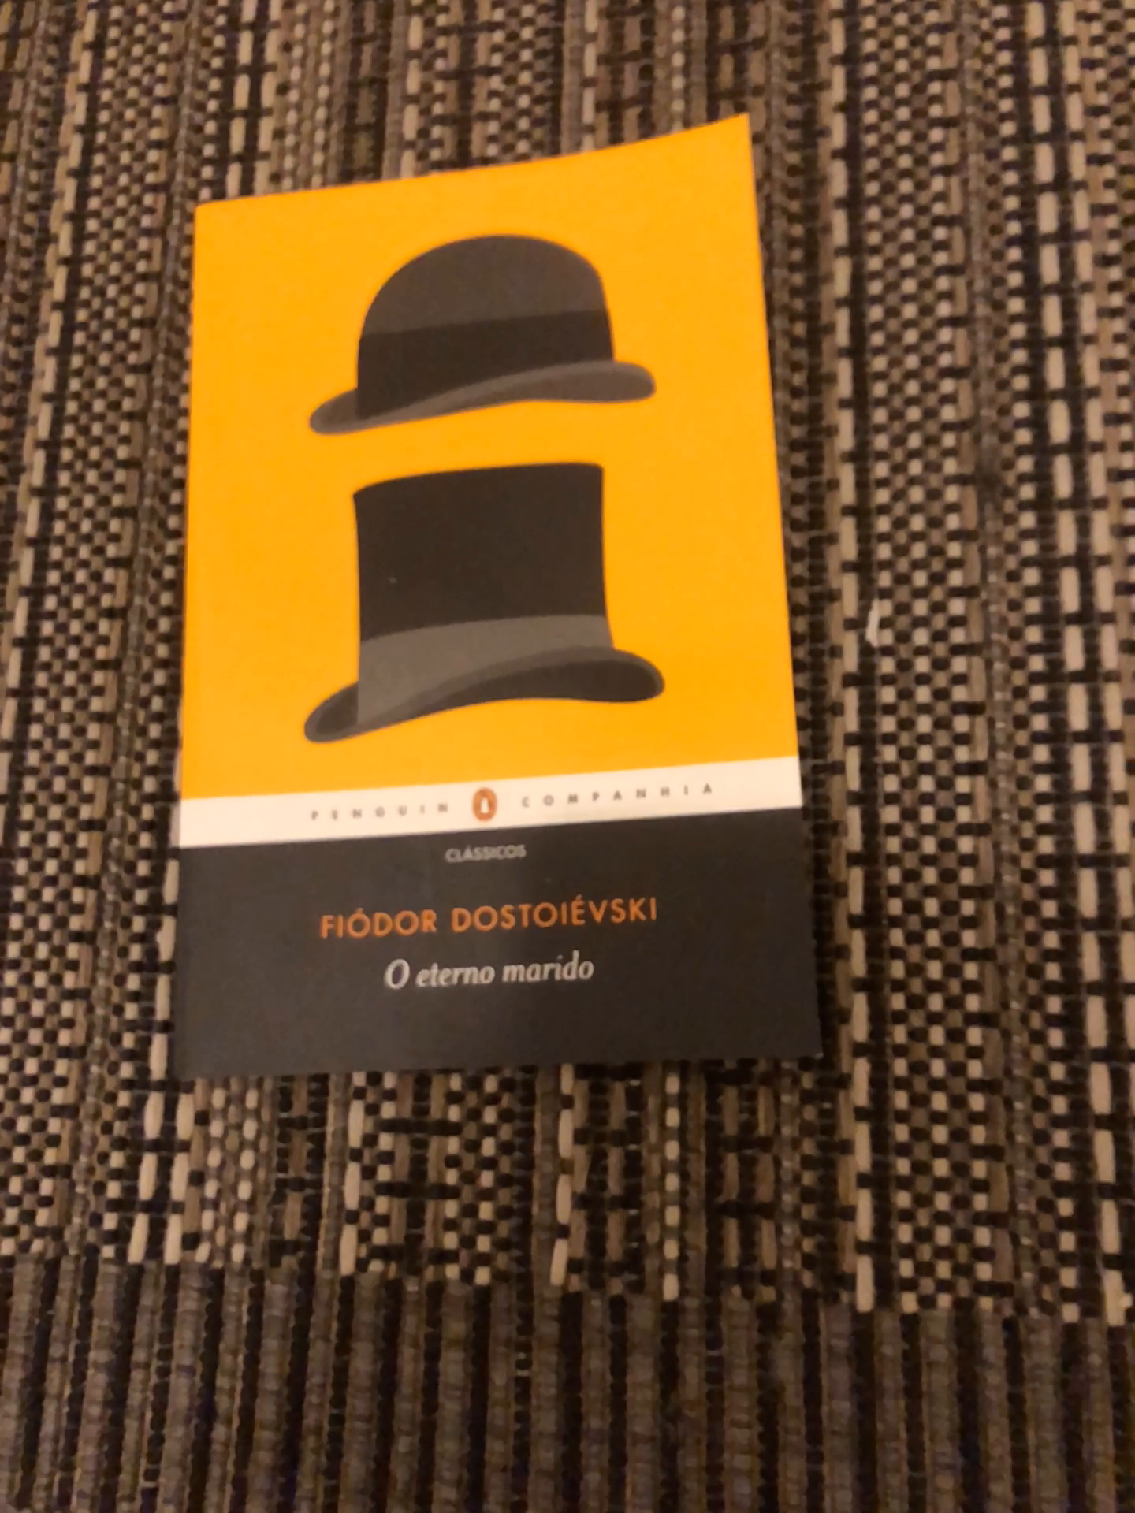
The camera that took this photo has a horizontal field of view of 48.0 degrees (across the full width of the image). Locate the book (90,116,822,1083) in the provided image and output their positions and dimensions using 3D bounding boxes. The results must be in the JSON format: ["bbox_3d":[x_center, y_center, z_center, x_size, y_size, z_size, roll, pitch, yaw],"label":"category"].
[{"bbox_3d":[-0.024,-0.031,0.250,0.130,0.020,0.180,-4,77,8],"label":"book"}]
